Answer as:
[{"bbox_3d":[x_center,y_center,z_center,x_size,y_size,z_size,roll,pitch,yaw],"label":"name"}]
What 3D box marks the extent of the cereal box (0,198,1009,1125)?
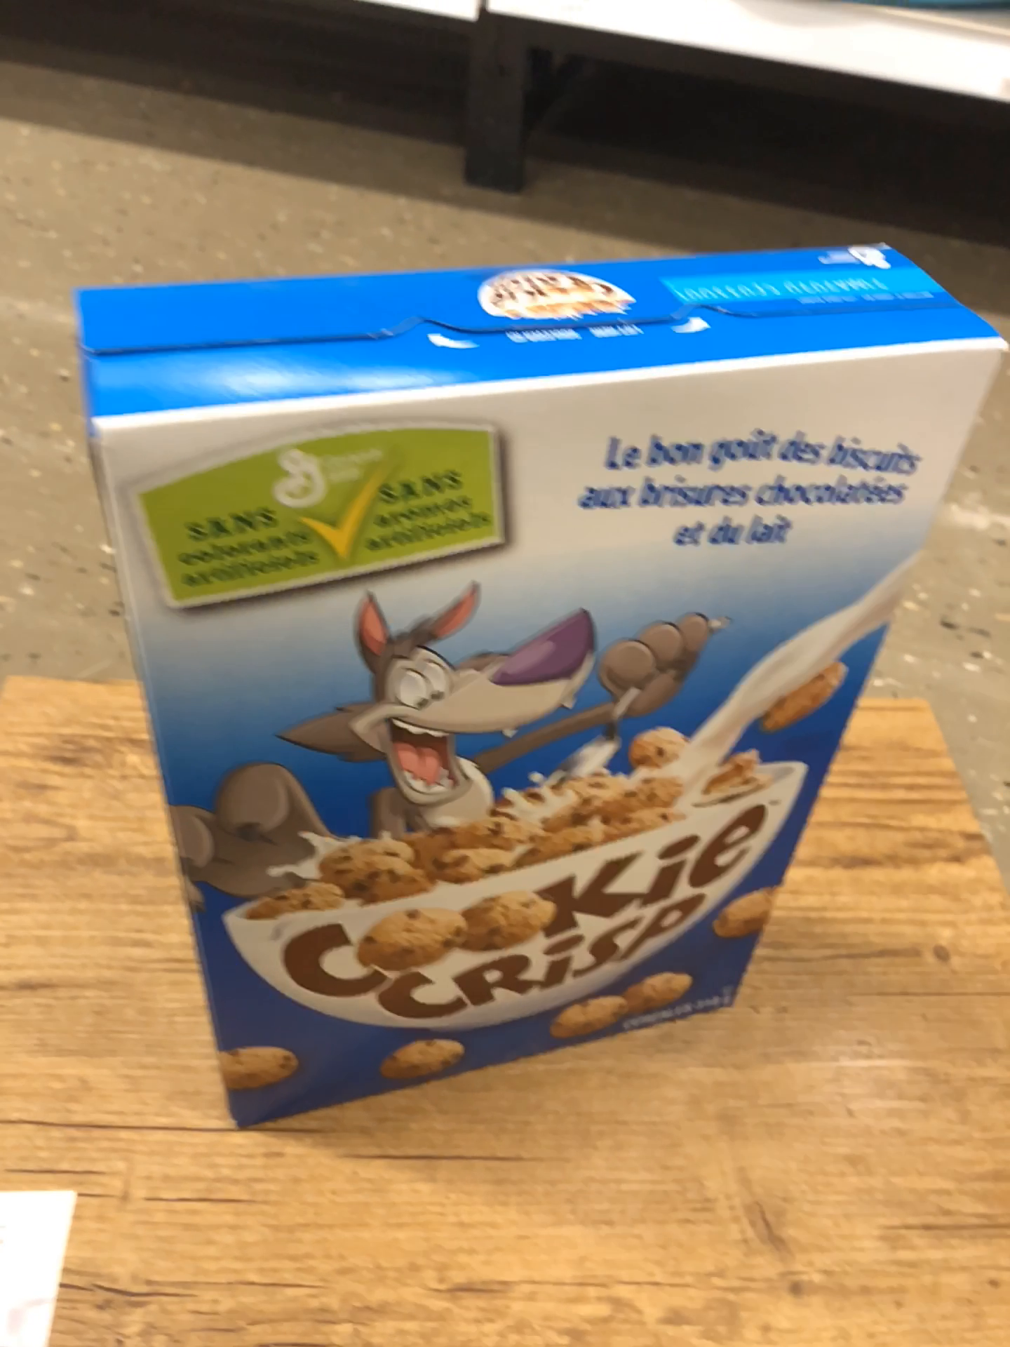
[{"bbox_3d":[-0.008,0.016,0.324,0.200,0.269,0.060,-9,46,-15],"label":"cereal box"}]
